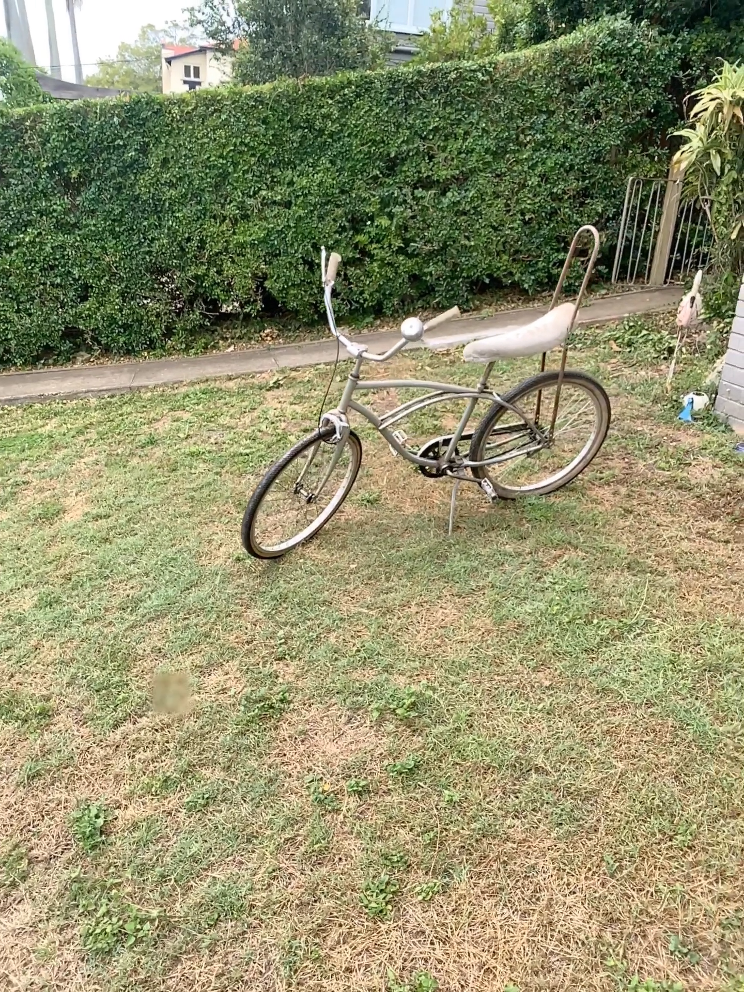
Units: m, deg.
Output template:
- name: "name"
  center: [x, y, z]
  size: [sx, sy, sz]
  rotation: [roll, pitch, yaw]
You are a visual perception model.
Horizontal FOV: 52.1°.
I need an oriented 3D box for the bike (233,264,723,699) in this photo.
- name: "bike"
  center: [0.322, -0.175, 2.939]
  size: [1.600, 0.991, 0.804]
  rotation: [-14, 25, -19]
